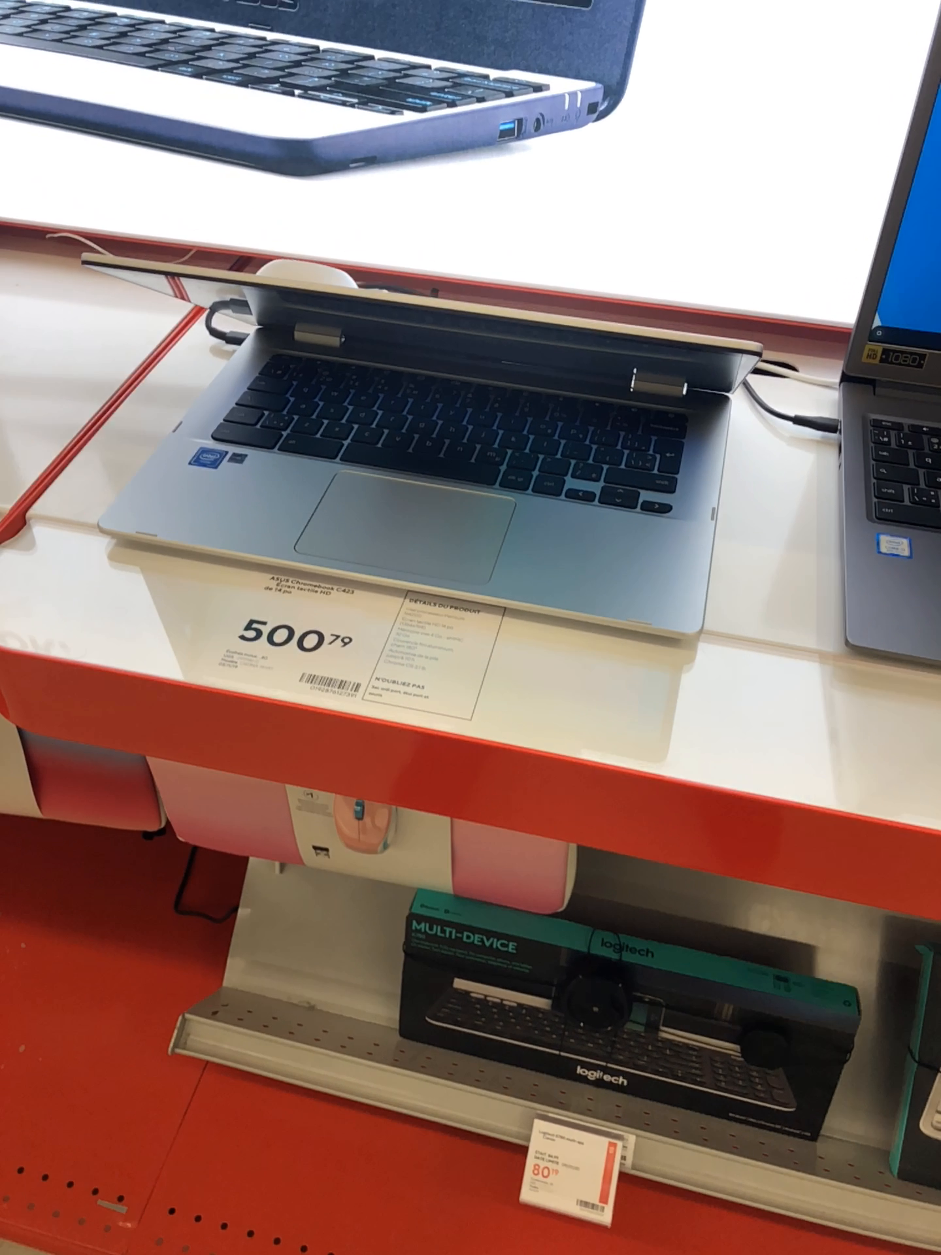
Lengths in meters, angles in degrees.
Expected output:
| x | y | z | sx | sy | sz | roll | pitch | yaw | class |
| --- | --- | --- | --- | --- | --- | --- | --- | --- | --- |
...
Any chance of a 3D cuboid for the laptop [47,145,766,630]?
| x | y | z | sx | sy | sz | roll | pitch | yaw | class |
| --- | --- | --- | --- | --- | --- | --- | --- | --- | --- |
| -0.016 | -0.143 | 0.561 | 0.311 | 0.118 | 0.214 | 10 | 45 | 9 | laptop |
